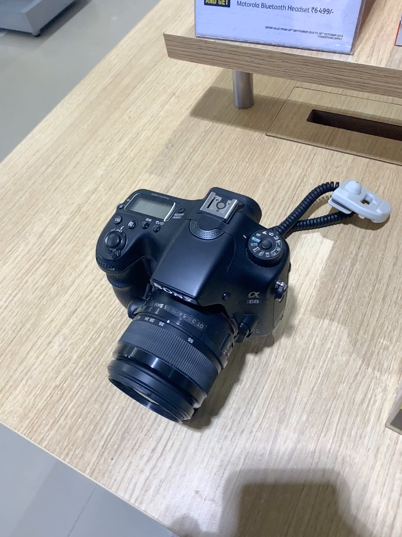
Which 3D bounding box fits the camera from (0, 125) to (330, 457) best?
[{"bbox_3d":[-0.015,0.005,0.287,0.140,0.090,0.170,22,63,22],"label":"camera"}]
